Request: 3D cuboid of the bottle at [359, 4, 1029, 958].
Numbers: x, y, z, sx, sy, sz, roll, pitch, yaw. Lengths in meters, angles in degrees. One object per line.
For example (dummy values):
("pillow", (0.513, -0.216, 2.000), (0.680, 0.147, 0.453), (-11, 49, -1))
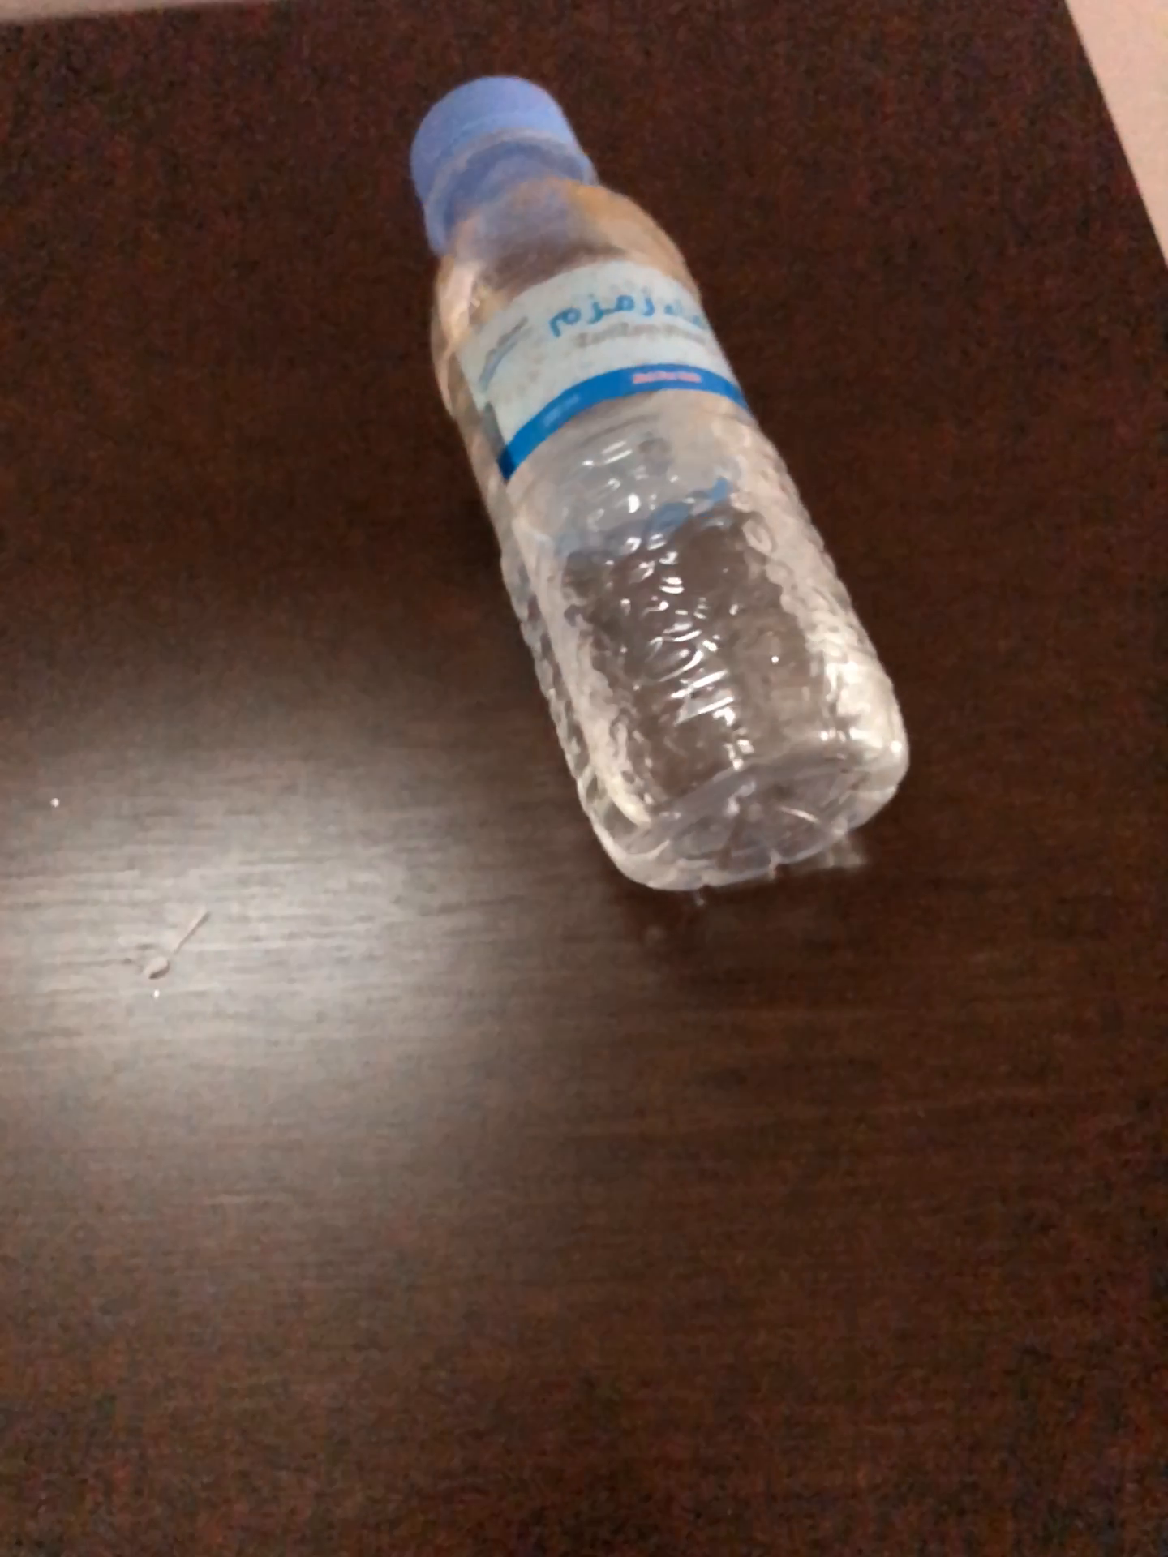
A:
("bottle", (0.006, -0.058, 0.224), (0.050, 0.050, 0.160), (-13, 63, -15))
